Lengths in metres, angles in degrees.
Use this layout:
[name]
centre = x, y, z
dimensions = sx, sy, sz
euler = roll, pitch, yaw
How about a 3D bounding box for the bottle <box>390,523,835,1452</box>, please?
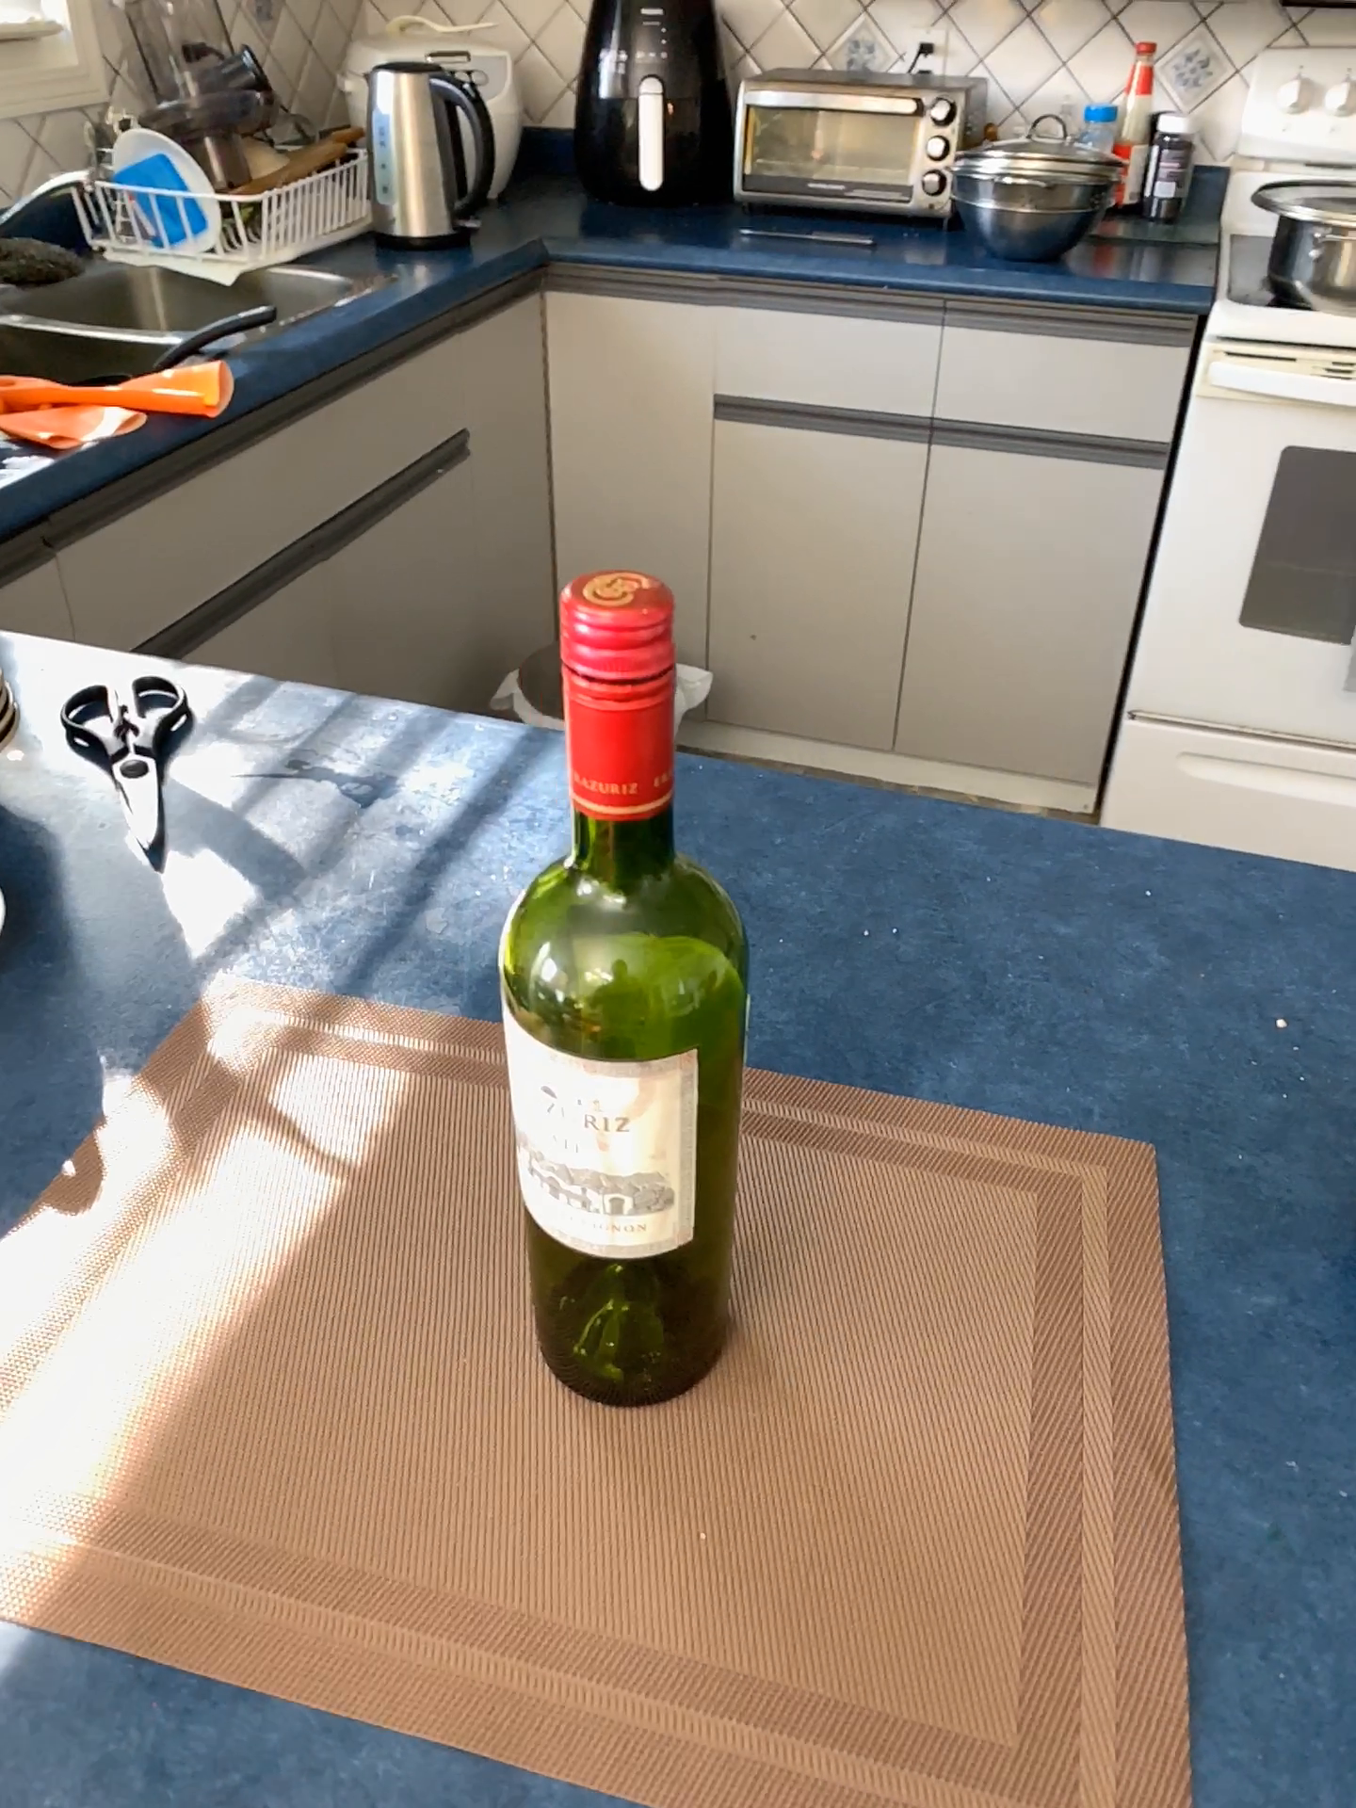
[bottle]
centre = -0.018, 0.037, 0.432
dimensions = 0.080, 0.277, 0.080
euler = 0, 35, 0
